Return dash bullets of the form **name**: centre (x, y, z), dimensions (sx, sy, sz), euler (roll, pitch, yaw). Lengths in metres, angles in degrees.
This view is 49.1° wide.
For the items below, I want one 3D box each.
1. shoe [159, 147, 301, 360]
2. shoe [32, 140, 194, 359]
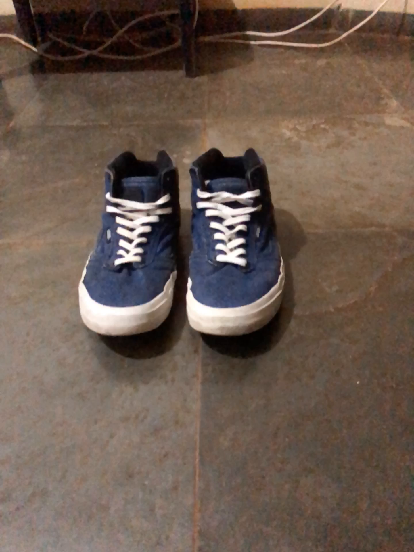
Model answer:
- **shoe**: centre (0.032, -0.046, 0.520), dimensions (0.120, 0.089, 0.282), euler (2, 40, 5)
- **shoe**: centre (-0.085, -0.048, 0.533), dimensions (0.120, 0.109, 0.282), euler (0, 40, 3)
